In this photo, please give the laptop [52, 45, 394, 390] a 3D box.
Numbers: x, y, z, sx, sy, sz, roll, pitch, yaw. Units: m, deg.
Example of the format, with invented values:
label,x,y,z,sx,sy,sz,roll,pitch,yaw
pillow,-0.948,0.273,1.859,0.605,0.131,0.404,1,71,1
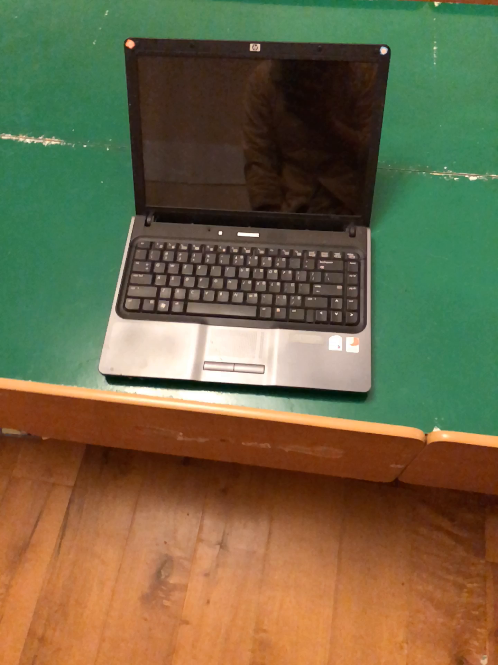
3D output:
label,x,y,z,sx,sy,sz,roll,pitch,yaw
laptop,-0.006,-0.147,0.670,0.323,0.172,0.375,4,64,4
